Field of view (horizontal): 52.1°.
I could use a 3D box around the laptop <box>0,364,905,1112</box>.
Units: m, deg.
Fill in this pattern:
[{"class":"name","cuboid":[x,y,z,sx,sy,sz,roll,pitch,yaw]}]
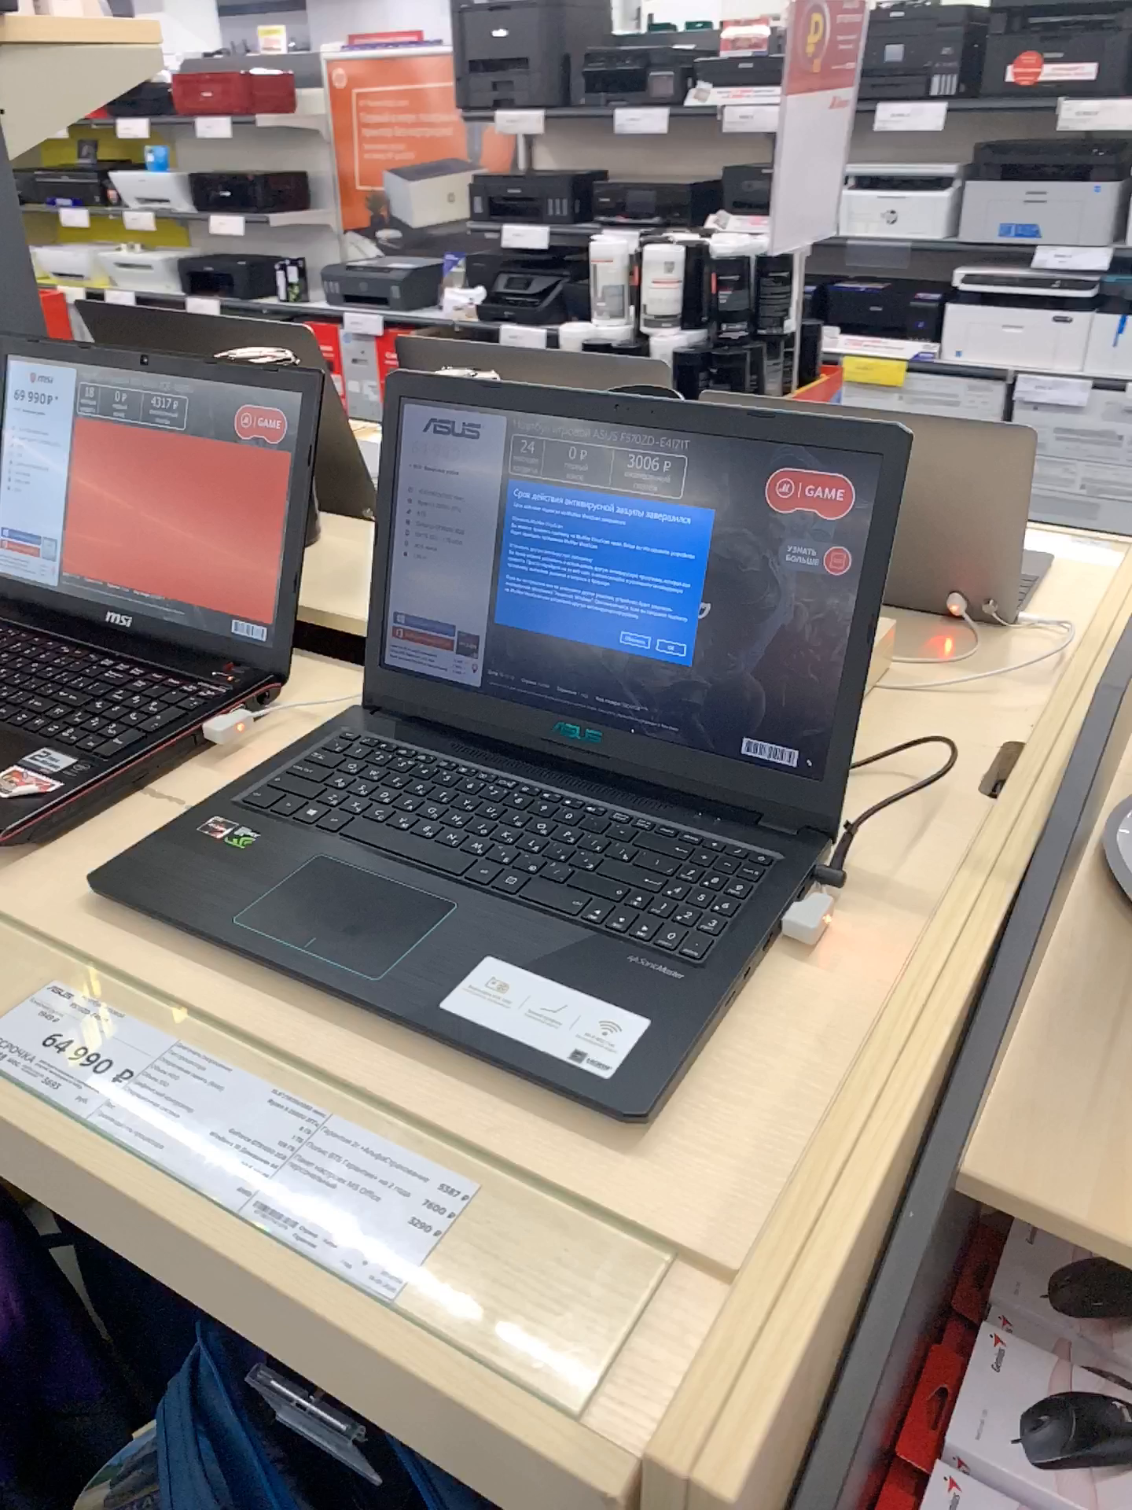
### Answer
[{"class":"laptop","cuboid":[-0.044,-0.057,0.653,0.358,0.222,0.319,15,34,27]}]
